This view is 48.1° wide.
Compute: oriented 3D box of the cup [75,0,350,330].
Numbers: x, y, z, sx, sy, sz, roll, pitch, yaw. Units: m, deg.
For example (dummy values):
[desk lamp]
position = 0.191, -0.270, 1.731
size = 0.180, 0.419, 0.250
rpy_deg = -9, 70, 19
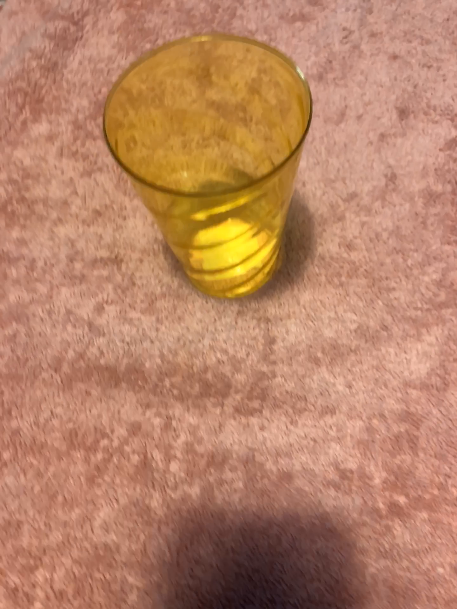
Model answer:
[cup]
position = -0.002, -0.057, 0.248
size = 0.080, 0.120, 0.080
rpy_deg = -1, 66, 2
